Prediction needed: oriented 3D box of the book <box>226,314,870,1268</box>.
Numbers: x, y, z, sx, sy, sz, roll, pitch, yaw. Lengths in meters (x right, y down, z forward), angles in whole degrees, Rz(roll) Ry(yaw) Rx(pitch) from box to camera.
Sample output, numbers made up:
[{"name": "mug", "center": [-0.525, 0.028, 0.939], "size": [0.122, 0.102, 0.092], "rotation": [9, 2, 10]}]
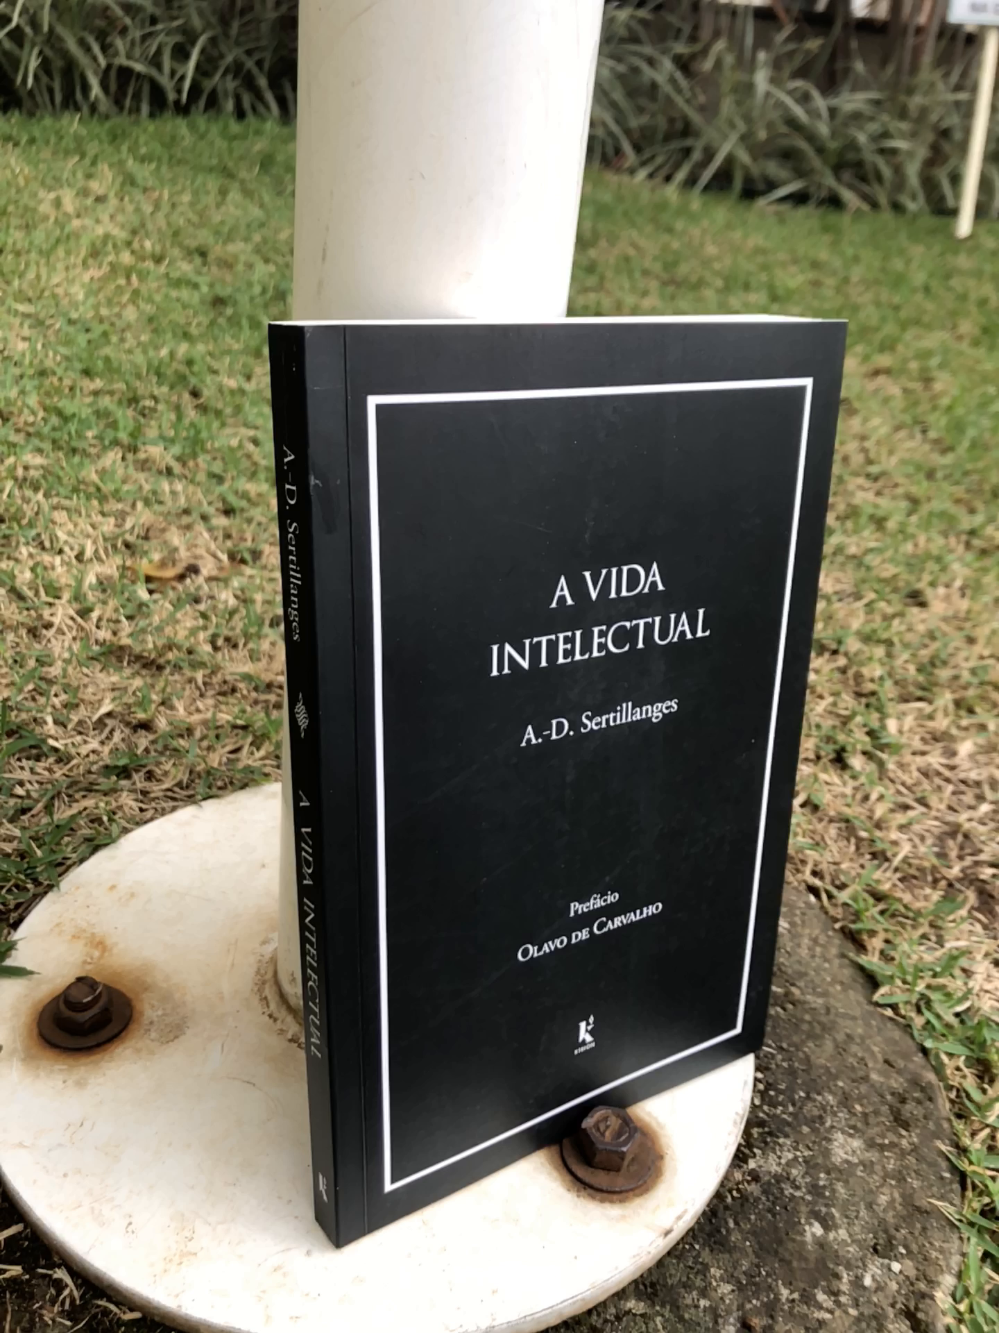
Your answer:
[{"name": "book", "center": [0.017, 0.022, 0.254], "size": [0.141, 0.193, 0.025], "rotation": [-11, 21, -31]}]
